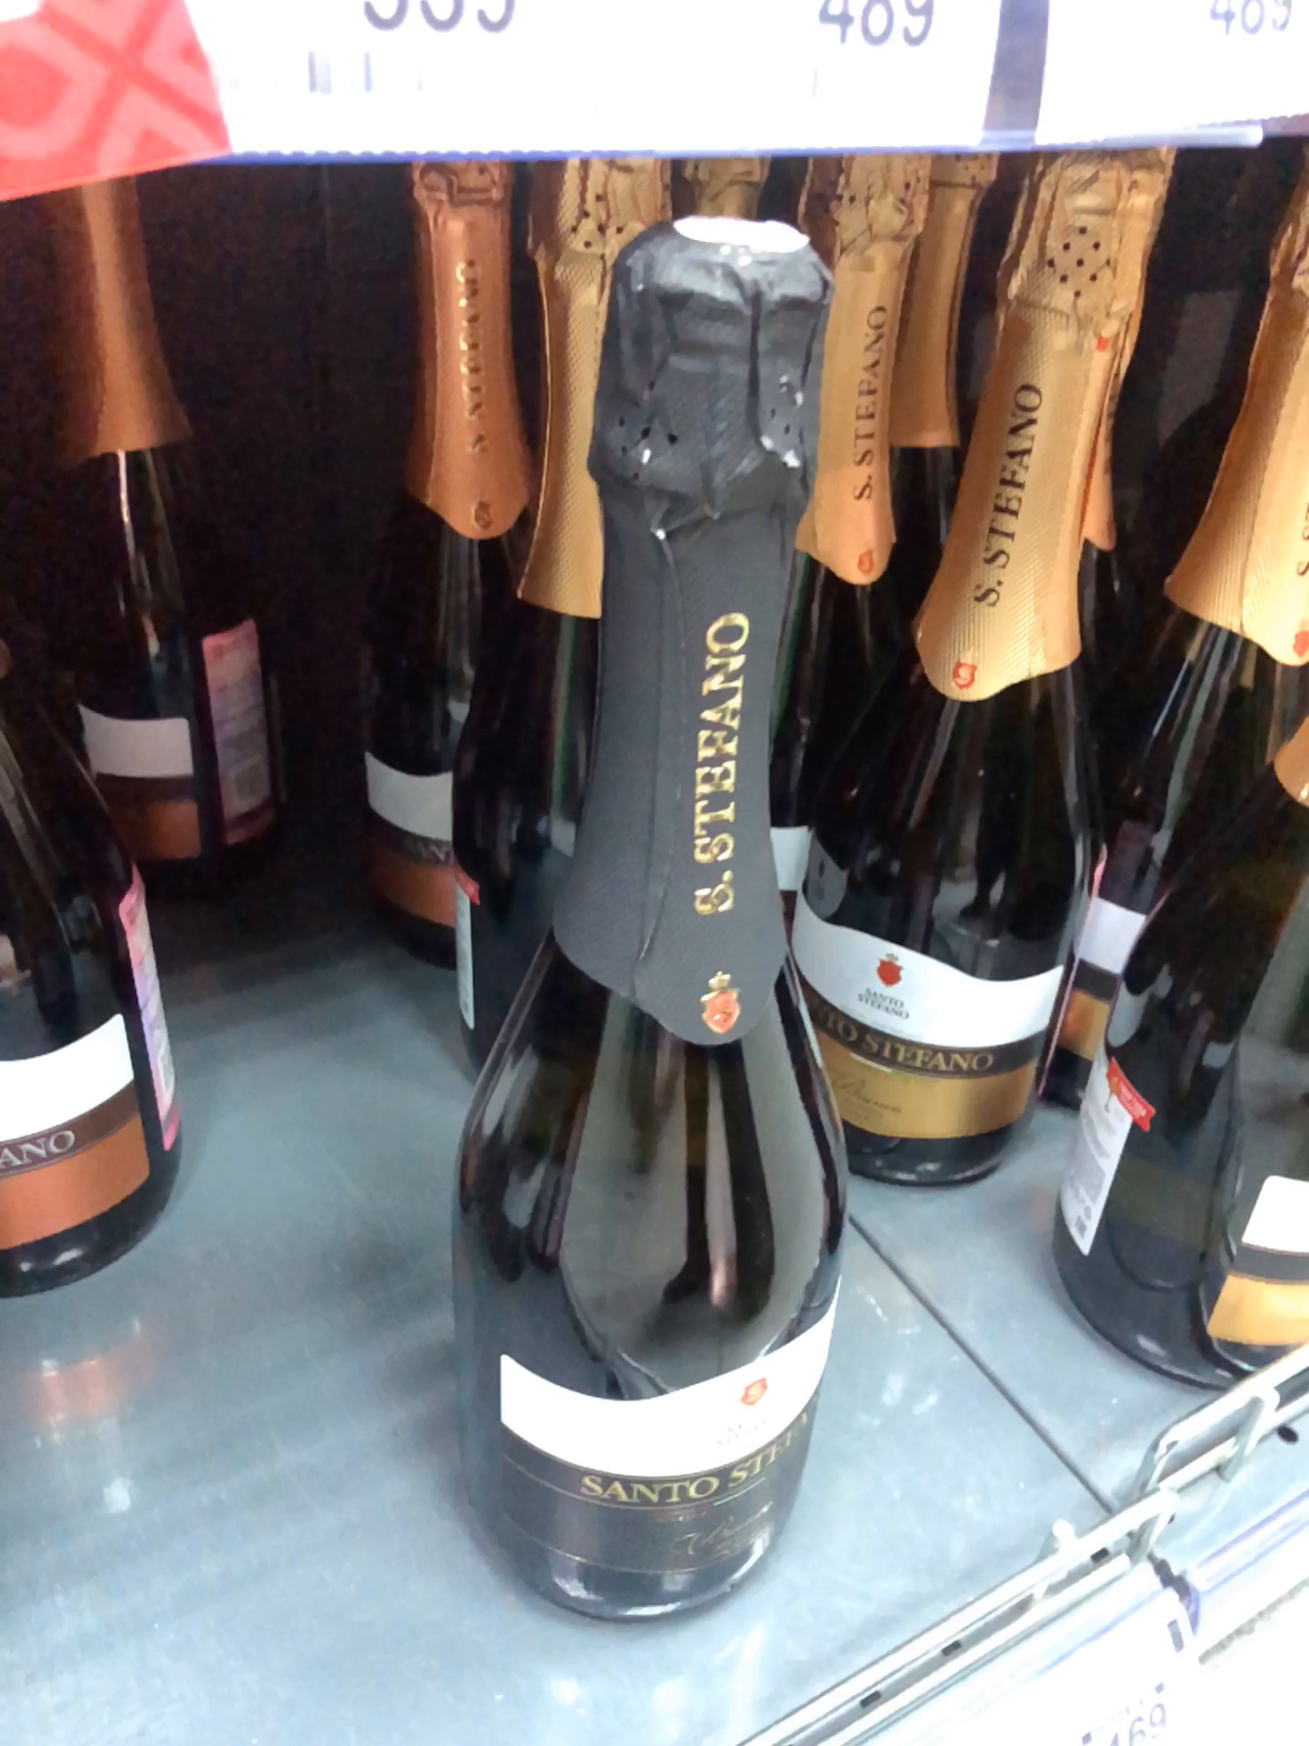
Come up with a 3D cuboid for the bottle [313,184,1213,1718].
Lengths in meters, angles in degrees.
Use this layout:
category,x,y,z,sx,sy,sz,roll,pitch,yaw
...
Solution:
category,x,y,z,sx,sy,sz,roll,pitch,yaw
bottle,0.006,0.027,0.292,0.100,0.288,0.090,-16,37,-28
